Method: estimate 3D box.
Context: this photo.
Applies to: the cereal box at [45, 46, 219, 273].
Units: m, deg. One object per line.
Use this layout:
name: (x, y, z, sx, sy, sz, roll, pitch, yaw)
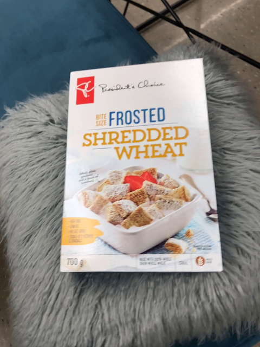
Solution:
cereal box: (0.001, -0.023, 0.414, 0.200, 0.070, 0.310, -2, 72, 5)
